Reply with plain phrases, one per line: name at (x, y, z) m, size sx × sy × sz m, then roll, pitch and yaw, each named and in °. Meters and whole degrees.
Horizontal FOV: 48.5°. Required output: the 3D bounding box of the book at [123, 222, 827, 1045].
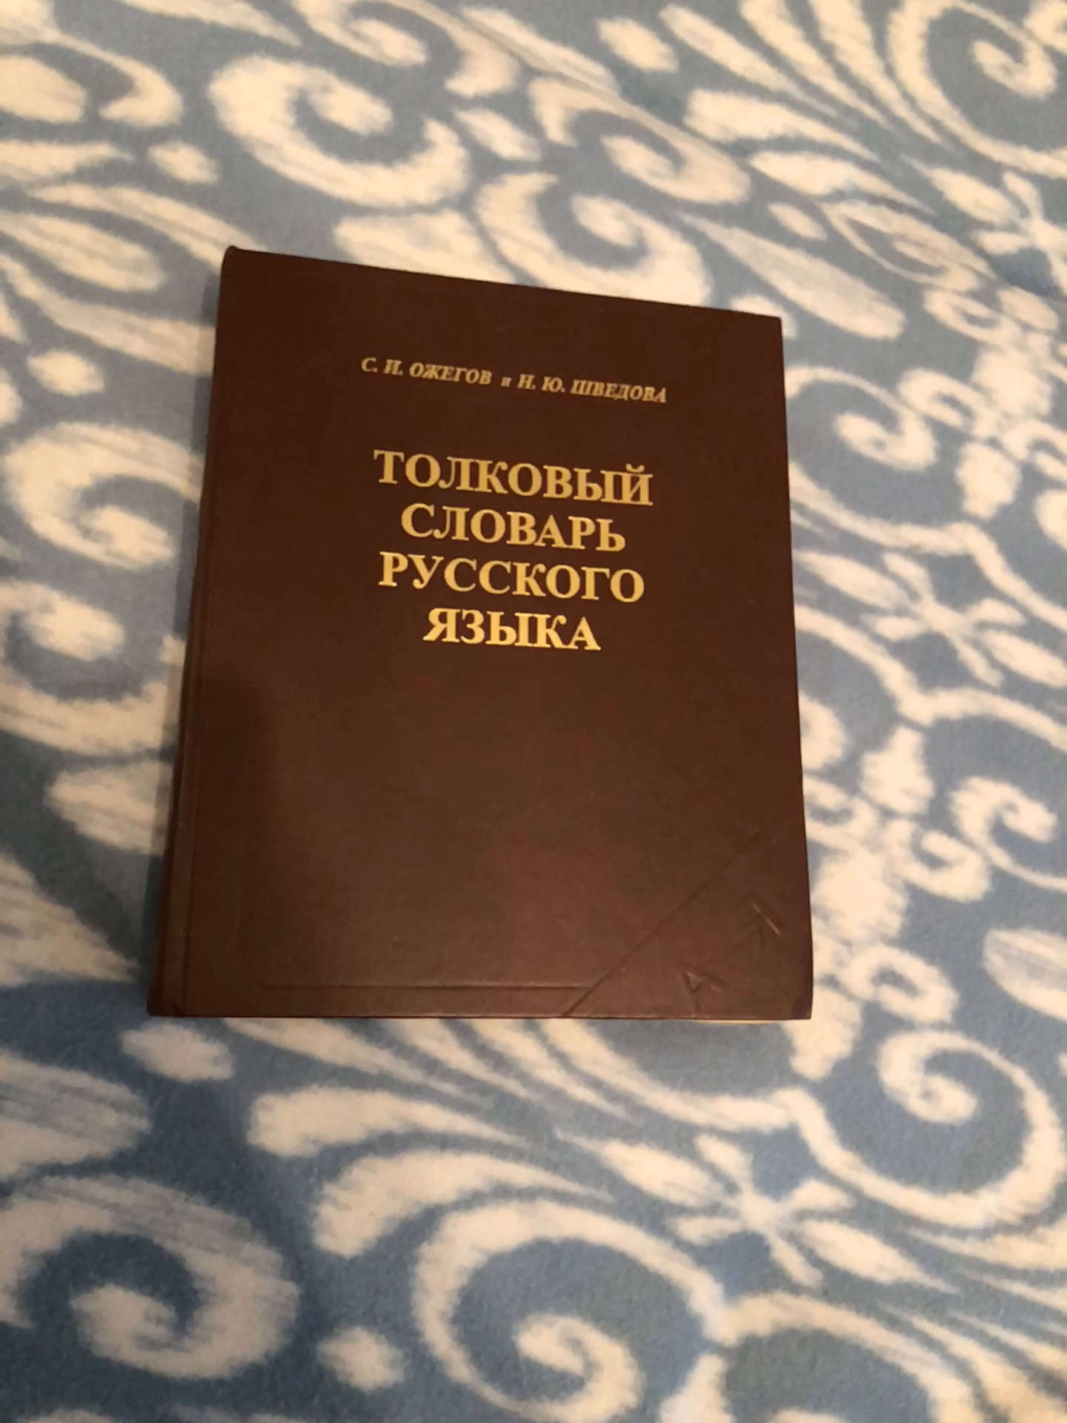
book at (-0.015, -0.023, 0.430) m, size 0.220 × 0.067 × 0.270 m, roll 4°, pitch 76°, yaw -11°
